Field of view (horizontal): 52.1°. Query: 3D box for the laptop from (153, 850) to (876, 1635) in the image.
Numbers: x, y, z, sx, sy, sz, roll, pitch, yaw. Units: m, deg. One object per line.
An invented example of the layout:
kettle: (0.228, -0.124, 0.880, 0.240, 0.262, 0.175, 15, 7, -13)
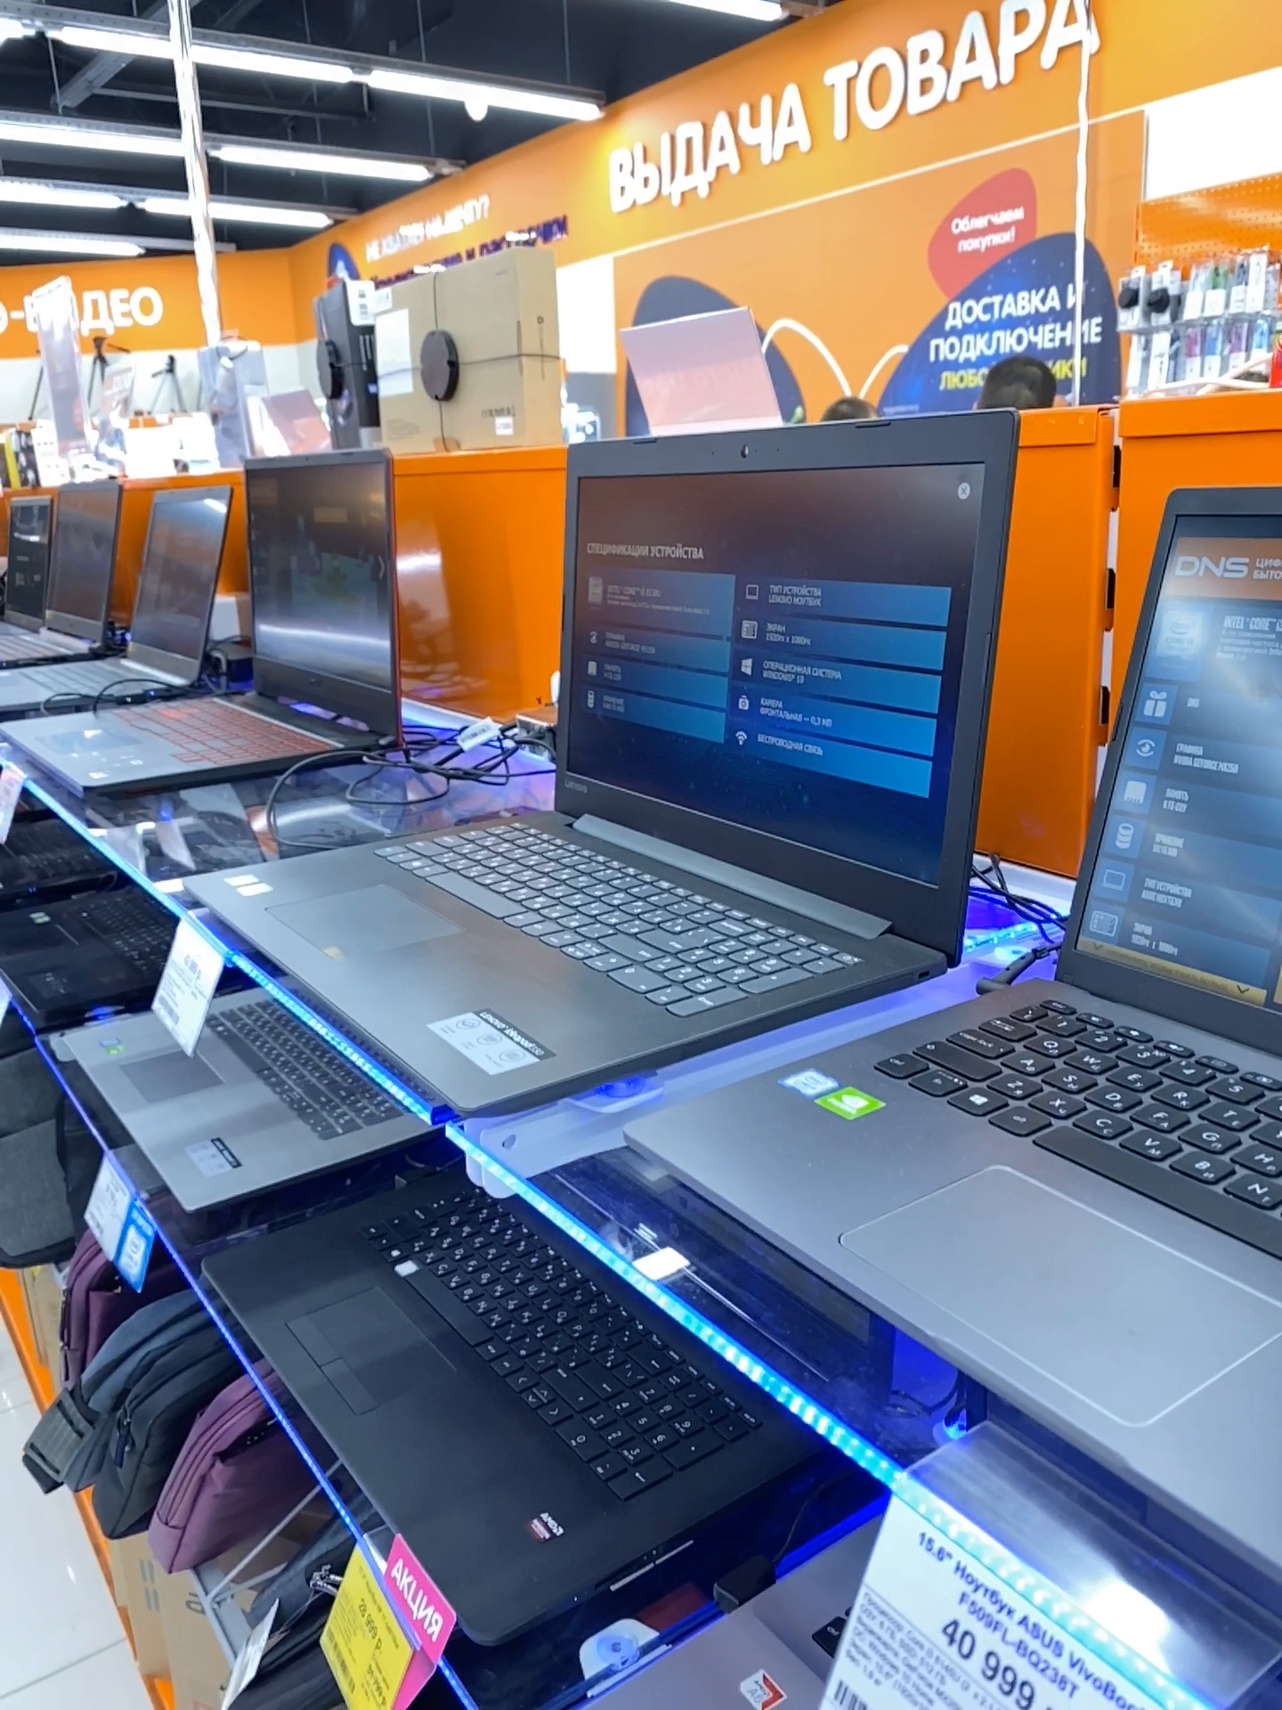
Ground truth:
laptop: (-0.093, 0.183, 0.828, 0.271, 0.263, 0.402, -11, 18, -36)

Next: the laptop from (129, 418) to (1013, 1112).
laptop: (-0.056, -0.088, 0.688, 0.289, 0.245, 0.378, -12, 18, -33)
